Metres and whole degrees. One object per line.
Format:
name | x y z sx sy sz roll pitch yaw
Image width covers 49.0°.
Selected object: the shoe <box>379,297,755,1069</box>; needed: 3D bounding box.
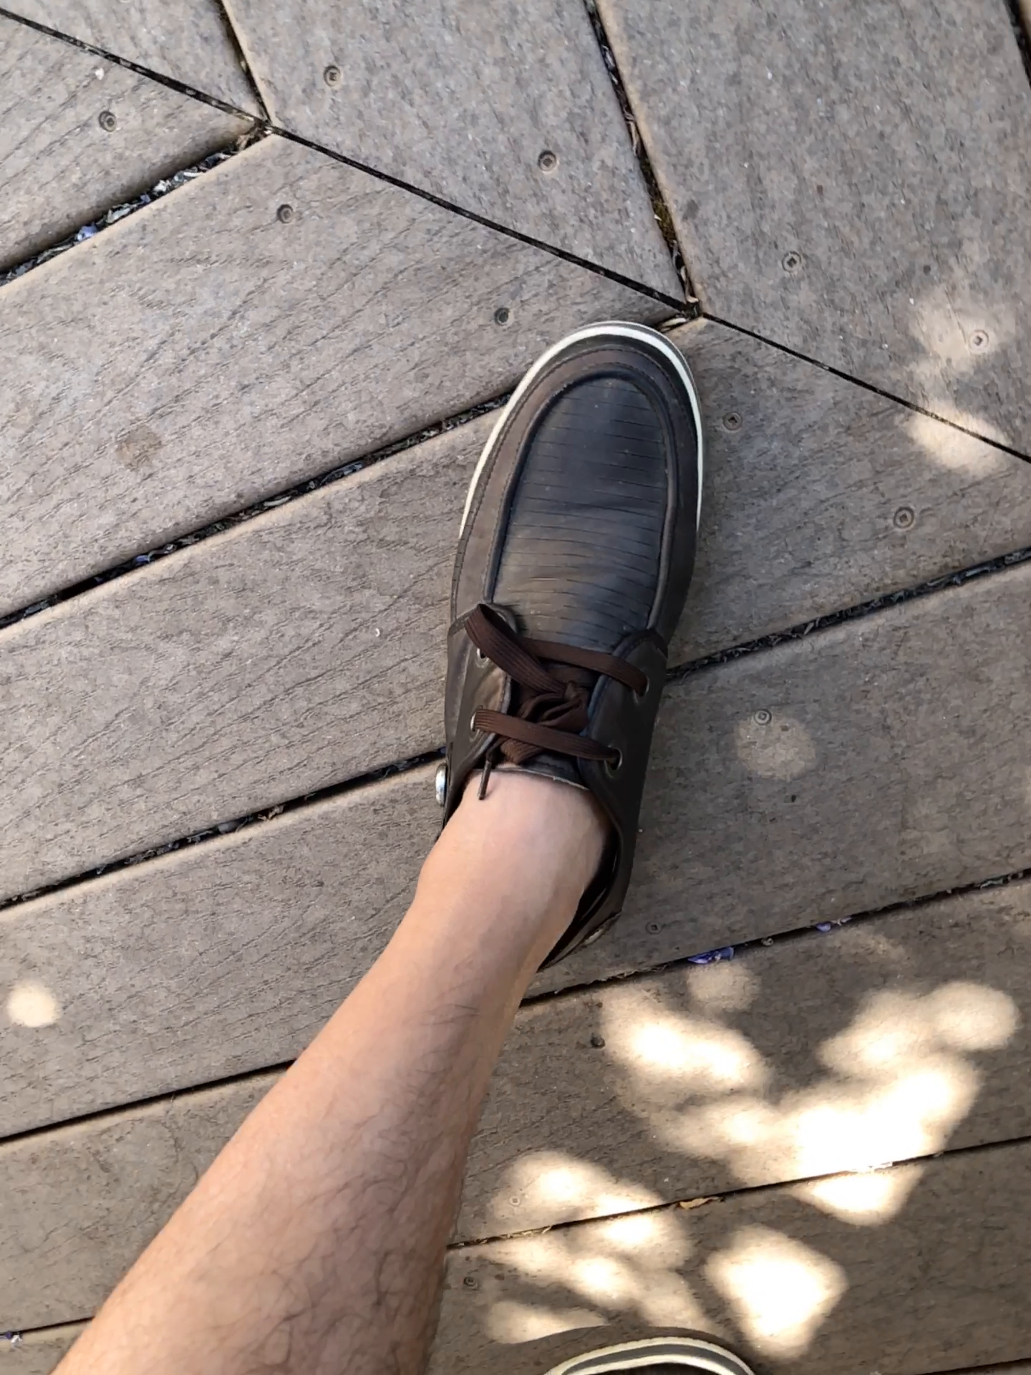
shoe | 0.017 -0.004 0.480 0.110 0.110 0.296 7 109 4
